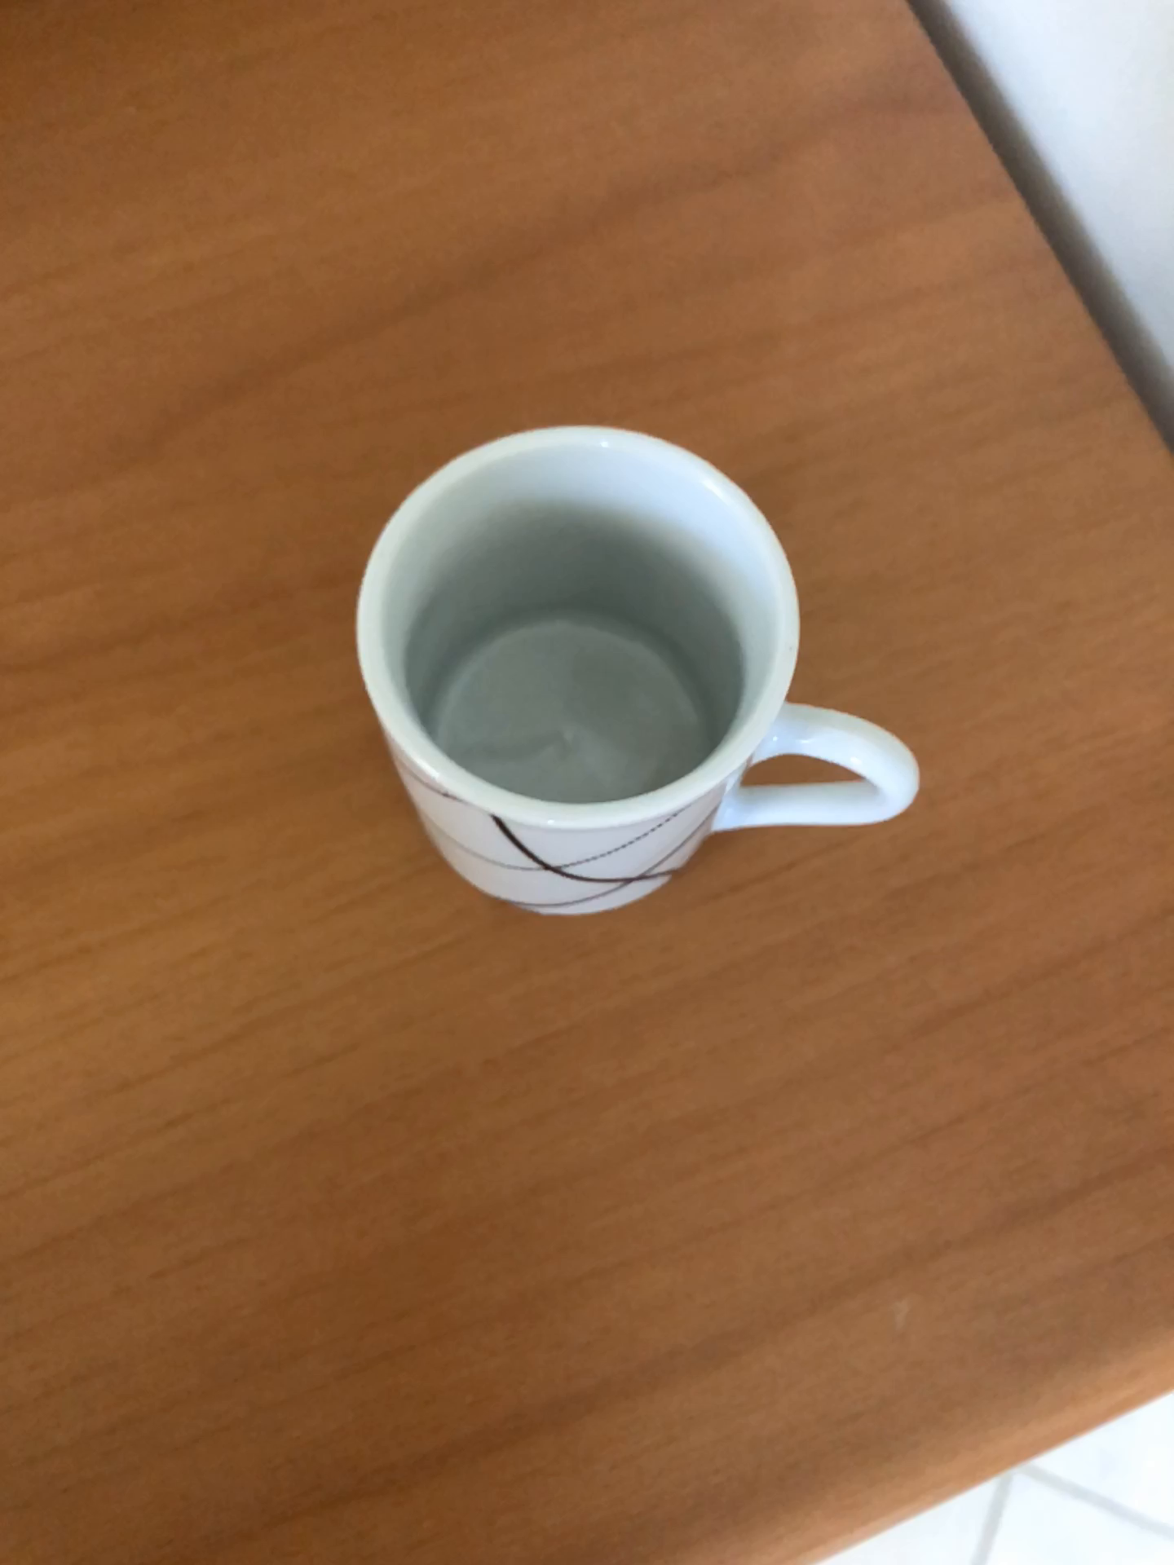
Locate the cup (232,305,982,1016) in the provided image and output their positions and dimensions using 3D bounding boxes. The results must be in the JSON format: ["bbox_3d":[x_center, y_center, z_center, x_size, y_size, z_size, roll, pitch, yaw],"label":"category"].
[{"bbox_3d":[0.003,-0.012,0.173,0.070,0.050,0.060,17,72,2],"label":"cup"}]
